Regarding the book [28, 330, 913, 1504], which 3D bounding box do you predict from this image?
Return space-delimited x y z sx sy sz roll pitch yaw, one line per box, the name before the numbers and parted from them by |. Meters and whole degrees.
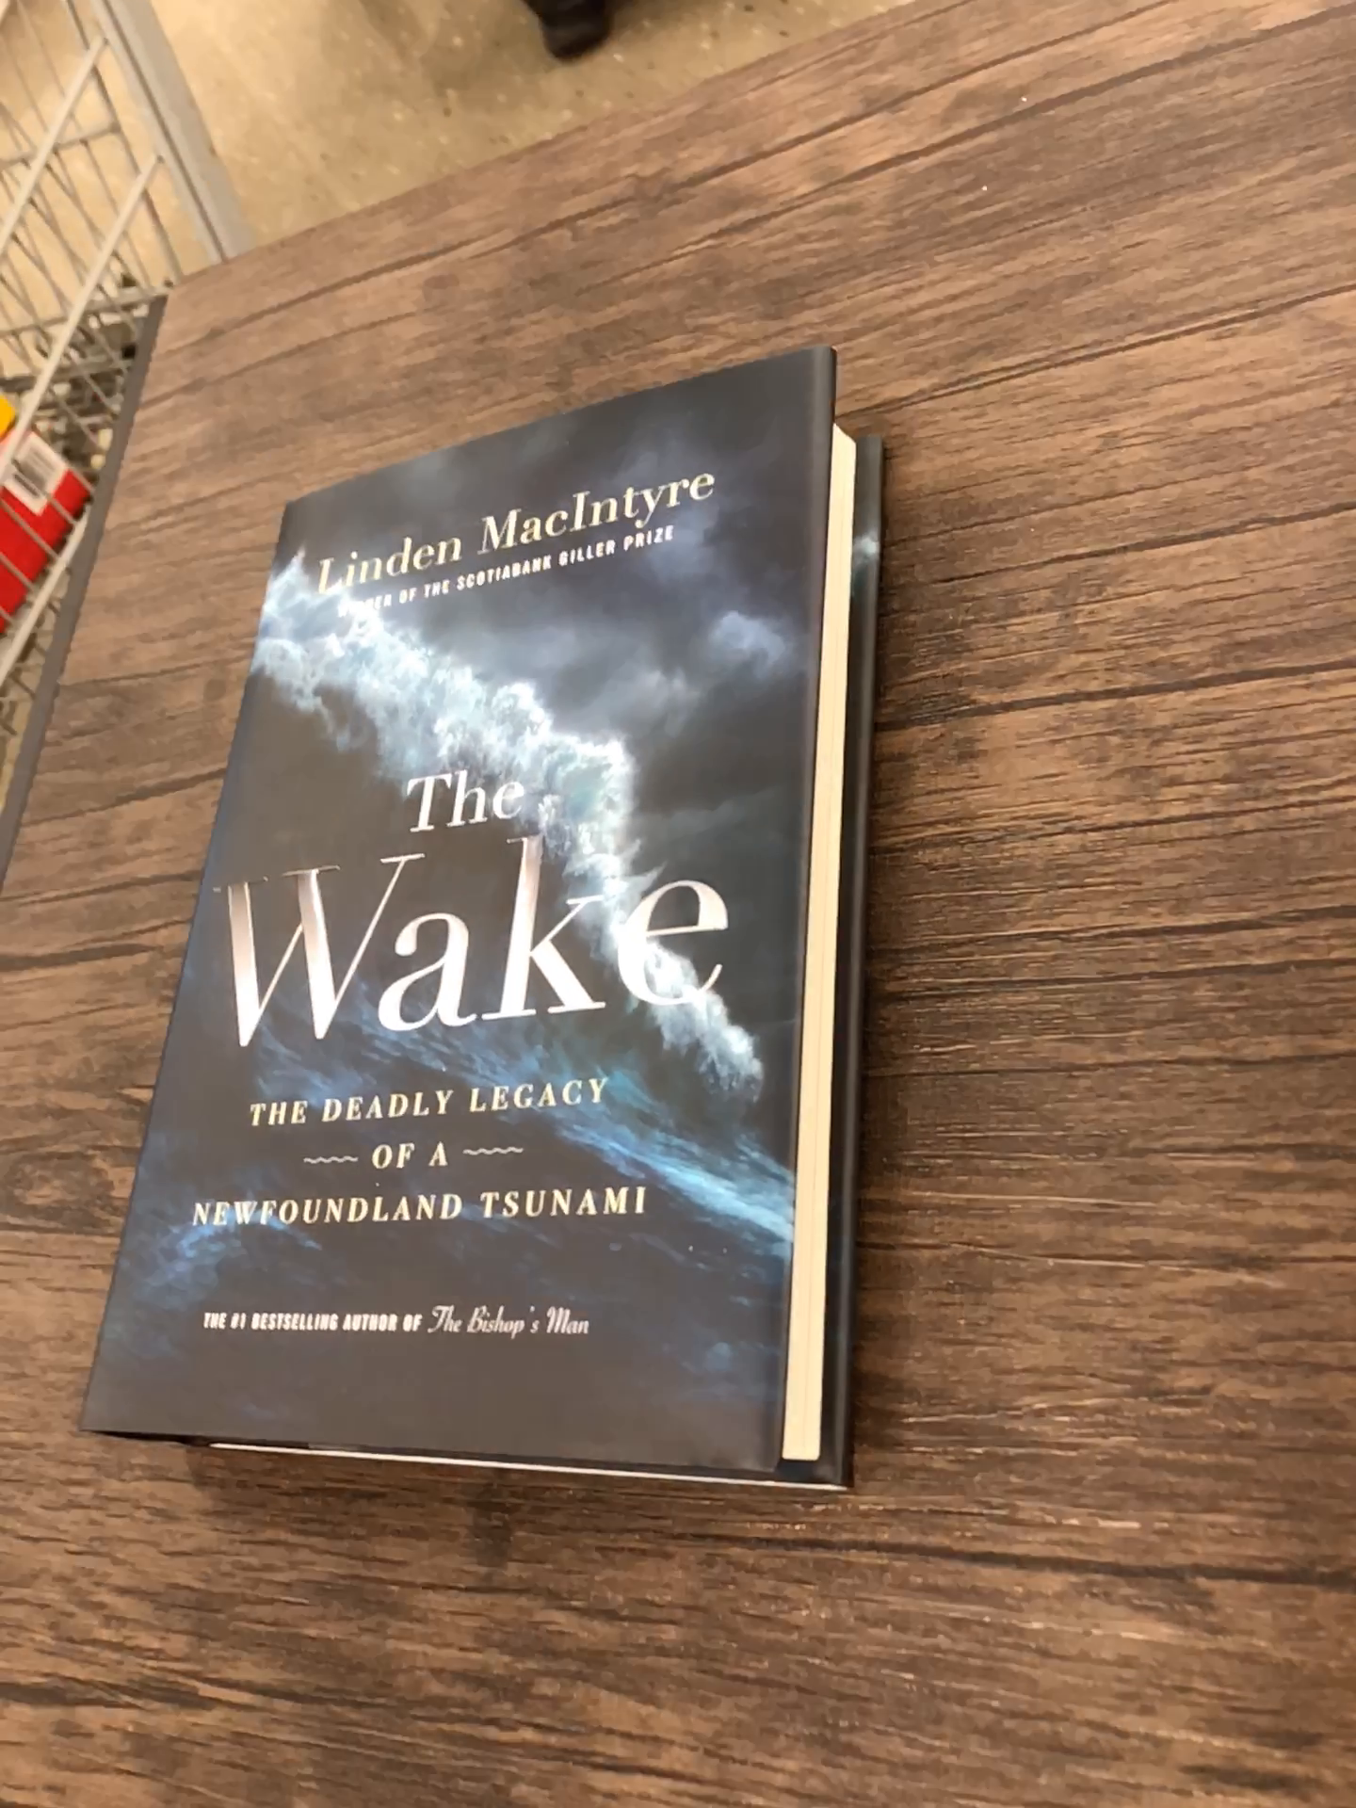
book | -0.037 0.001 0.331 0.160 0.050 0.230 -6 64 26
